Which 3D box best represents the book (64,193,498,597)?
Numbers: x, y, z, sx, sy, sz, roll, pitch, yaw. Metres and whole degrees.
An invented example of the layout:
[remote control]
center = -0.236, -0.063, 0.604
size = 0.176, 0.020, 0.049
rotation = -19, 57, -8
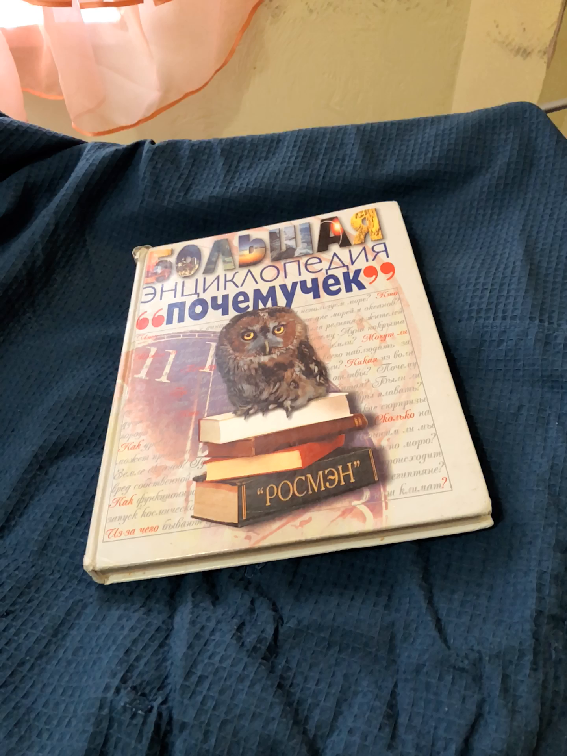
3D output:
[book]
center = -0.010, -0.014, 0.445
size = 0.235, 0.030, 0.306
rotation = -10, 47, 6
